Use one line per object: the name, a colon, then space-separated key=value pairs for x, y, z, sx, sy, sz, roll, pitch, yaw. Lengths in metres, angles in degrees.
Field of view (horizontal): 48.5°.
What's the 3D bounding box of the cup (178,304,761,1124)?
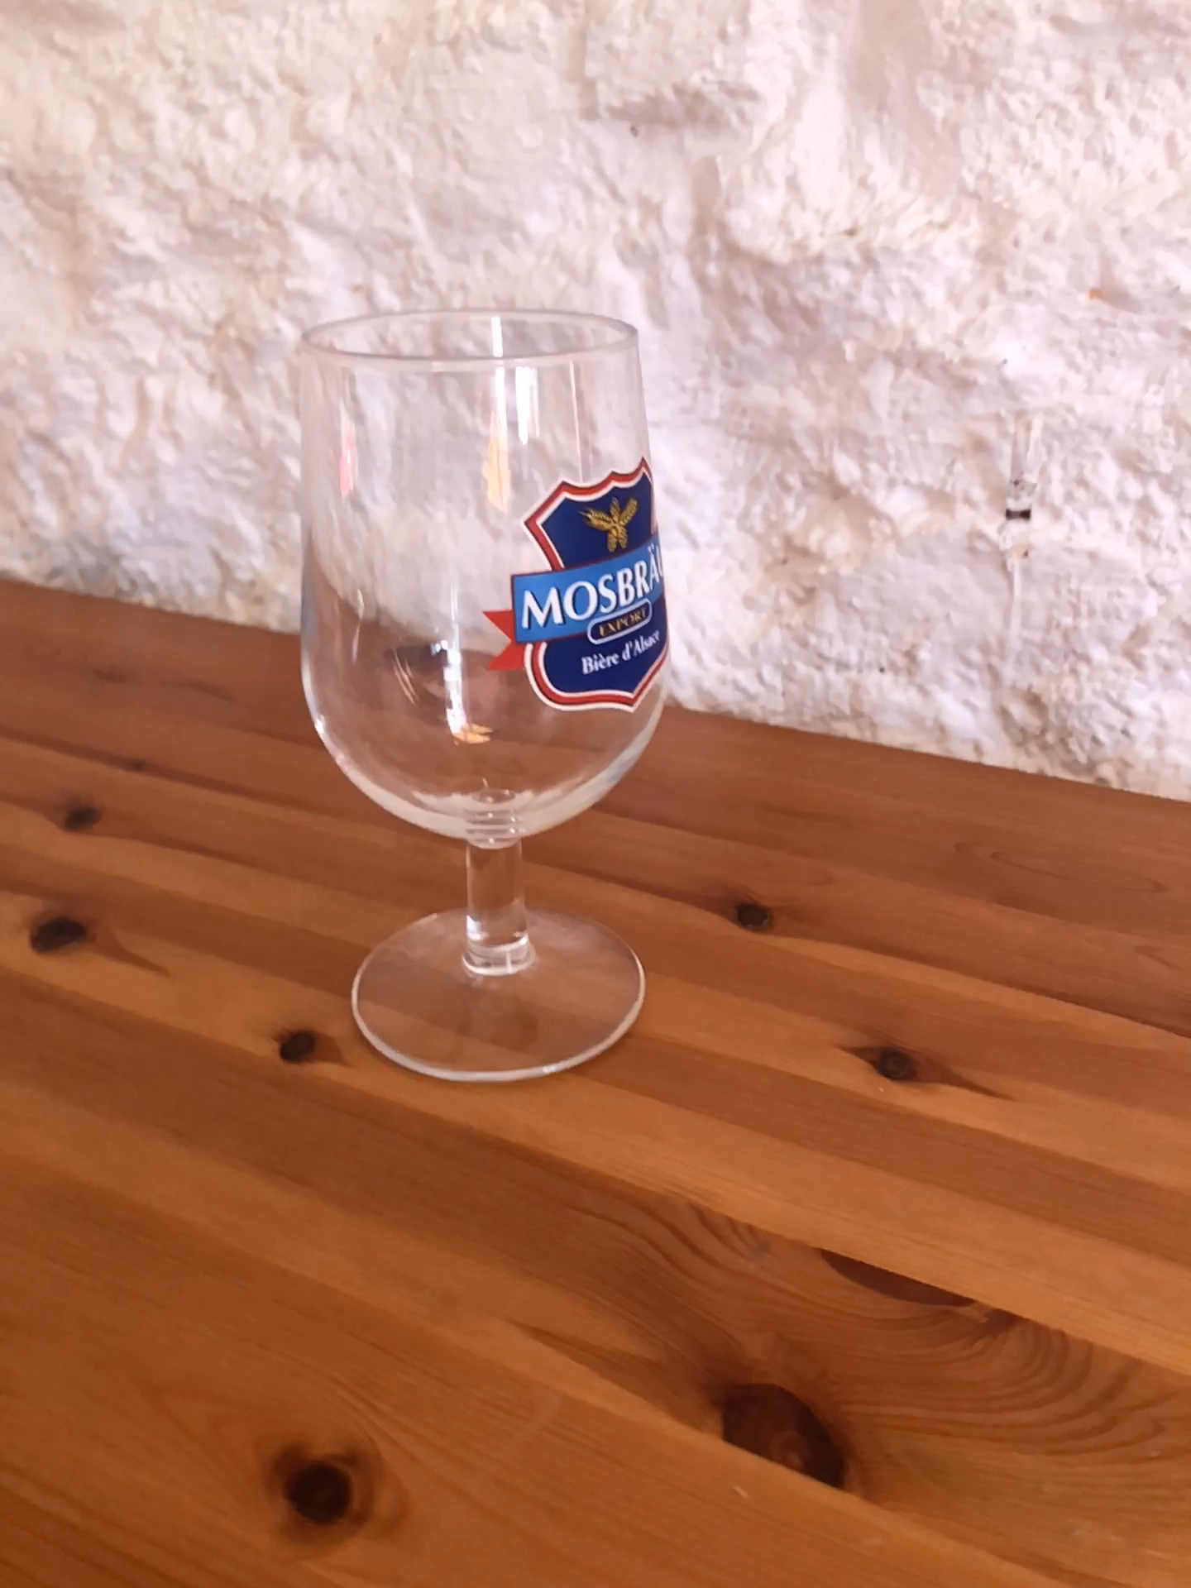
cup: x=-0.023 y=-0.023 z=0.279 sx=0.077 sy=0.142 sz=0.079 roll=1 pitch=25 yaw=0
